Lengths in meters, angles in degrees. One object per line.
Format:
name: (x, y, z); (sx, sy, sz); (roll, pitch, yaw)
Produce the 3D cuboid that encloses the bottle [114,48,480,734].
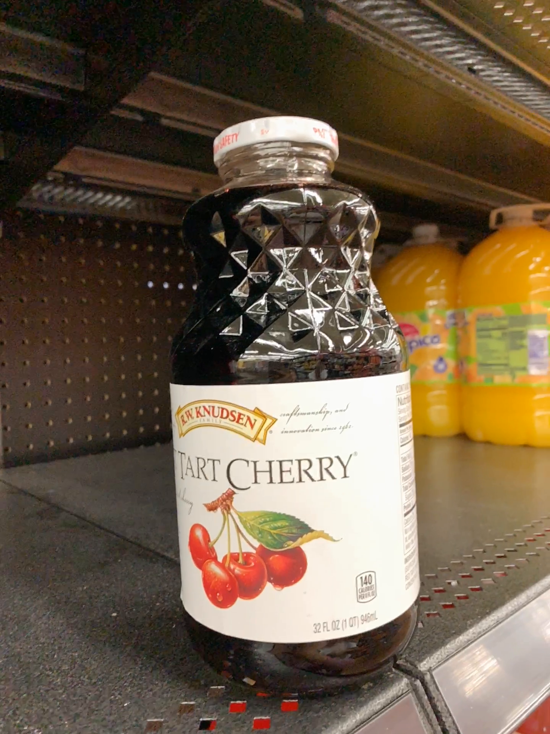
bottle: (0.015, 0.009, 0.235); (0.100, 0.200, 0.110); (-2, 2, 0)
